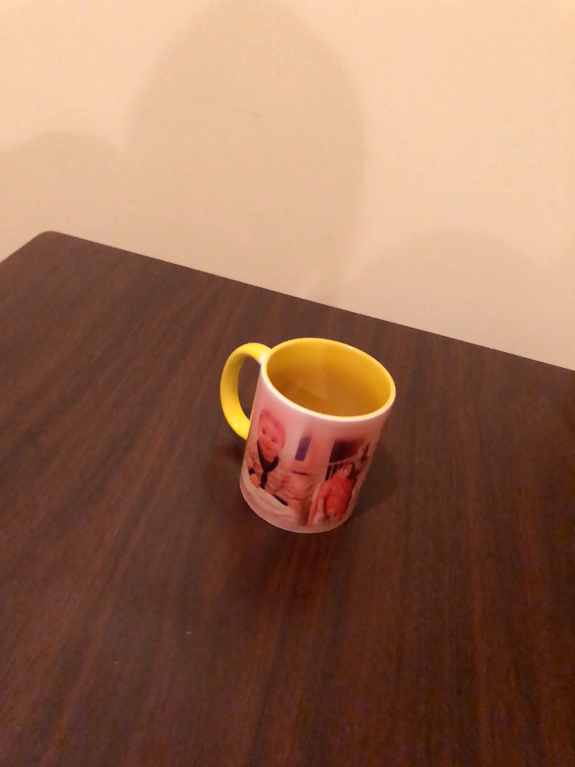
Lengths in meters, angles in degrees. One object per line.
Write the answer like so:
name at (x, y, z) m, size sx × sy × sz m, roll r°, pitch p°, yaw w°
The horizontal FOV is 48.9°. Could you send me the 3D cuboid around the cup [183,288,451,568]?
cup at (0.015, 0.022, 0.394) m, size 0.120 × 0.099 × 0.090 m, roll 28°, pitch 38°, yaw 19°
